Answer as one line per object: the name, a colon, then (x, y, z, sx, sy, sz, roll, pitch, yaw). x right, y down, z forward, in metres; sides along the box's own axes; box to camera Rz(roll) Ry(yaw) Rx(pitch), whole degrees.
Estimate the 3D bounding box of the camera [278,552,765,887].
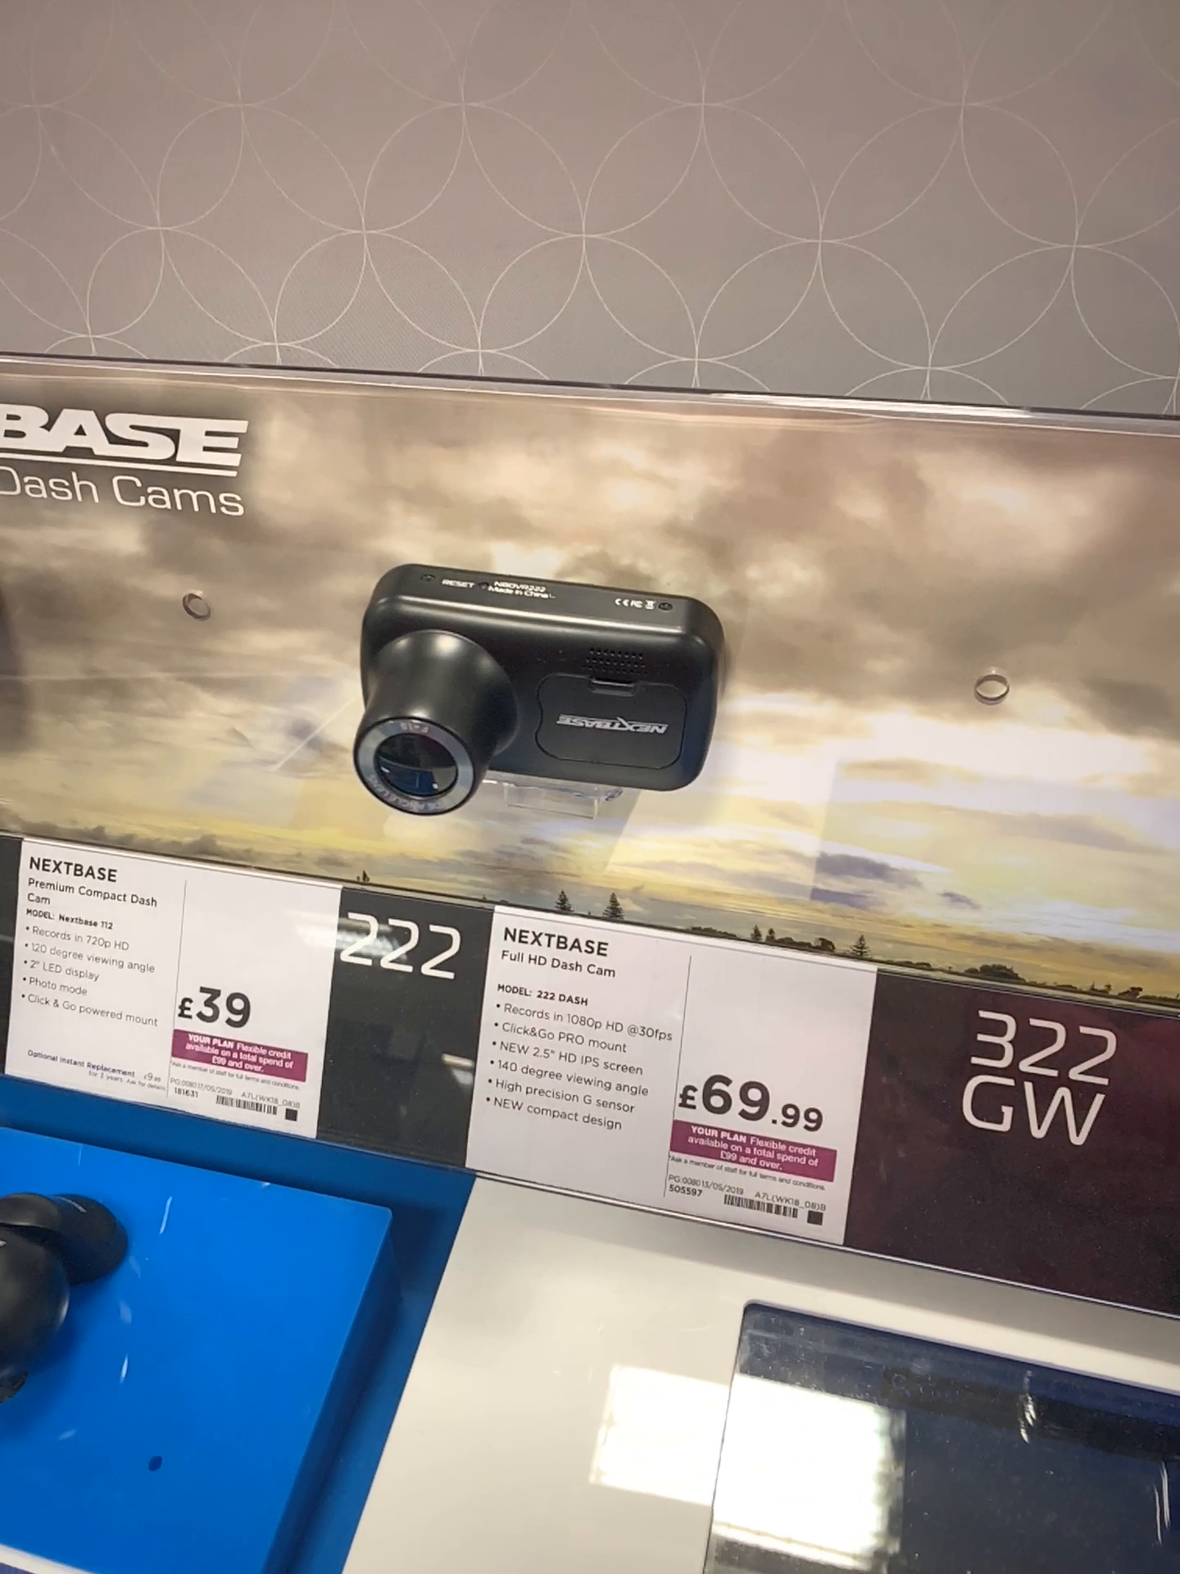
camera: (-0.012, -0.017, 0.263, 0.090, 0.040, 0.050, 8, 38, 11)
